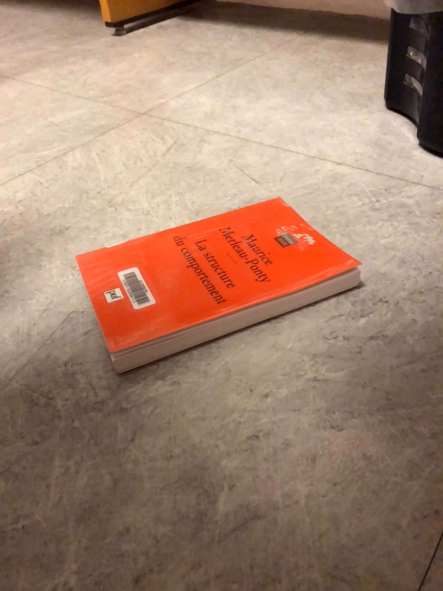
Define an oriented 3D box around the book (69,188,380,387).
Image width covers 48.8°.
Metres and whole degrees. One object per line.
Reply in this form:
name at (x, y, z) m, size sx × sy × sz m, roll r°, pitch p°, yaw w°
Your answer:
book at (-0.004, -0.020, 0.379) m, size 0.200 × 0.020 × 0.135 m, roll -18°, pitch 43°, yaw -15°
